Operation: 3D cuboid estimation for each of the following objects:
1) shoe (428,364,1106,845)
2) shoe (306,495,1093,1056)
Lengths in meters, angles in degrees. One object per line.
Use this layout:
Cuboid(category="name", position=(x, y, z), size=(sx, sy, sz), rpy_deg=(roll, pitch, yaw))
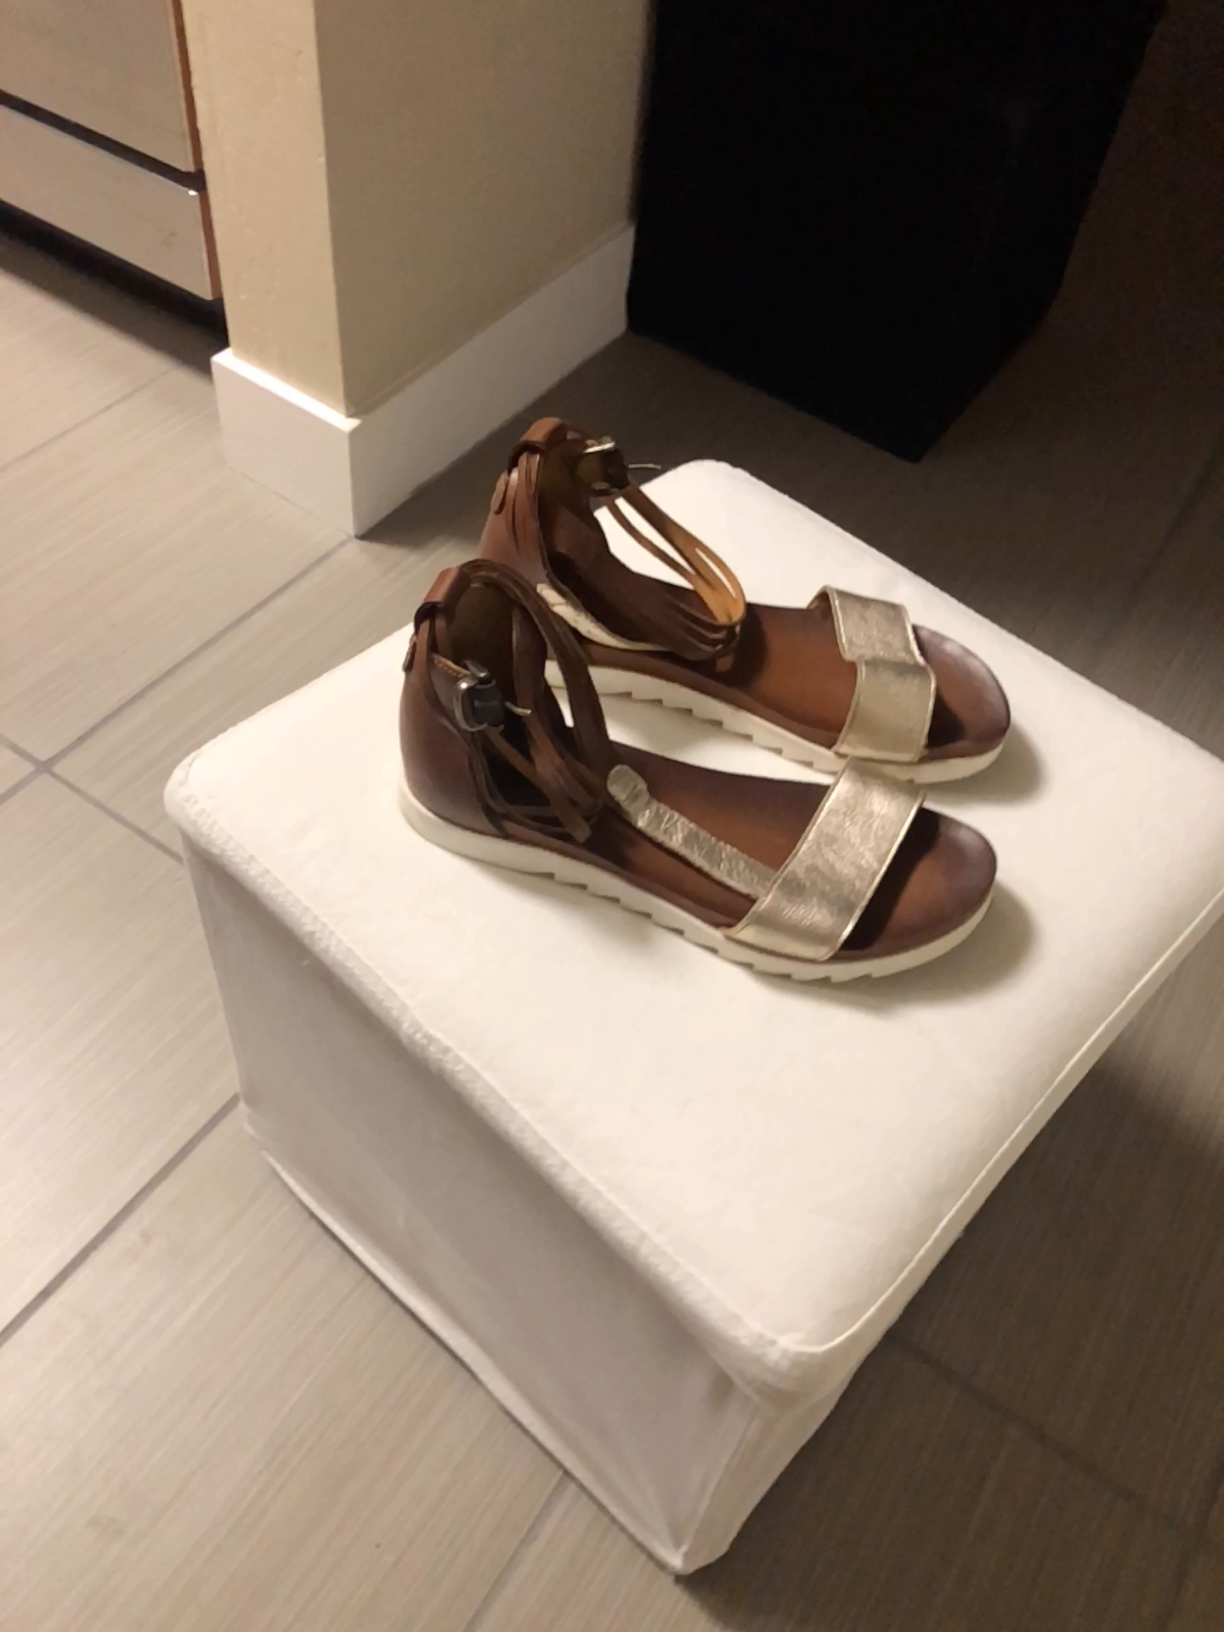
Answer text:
Cuboid(category="shoe", position=(0.063, -0.094, 0.585), size=(0.260, 0.090, 0.110), rpy_deg=(17, 51, 7))
Cuboid(category="shoe", position=(0.032, -0.019, 0.512), size=(0.260, 0.090, 0.110), rpy_deg=(17, 51, 7))
